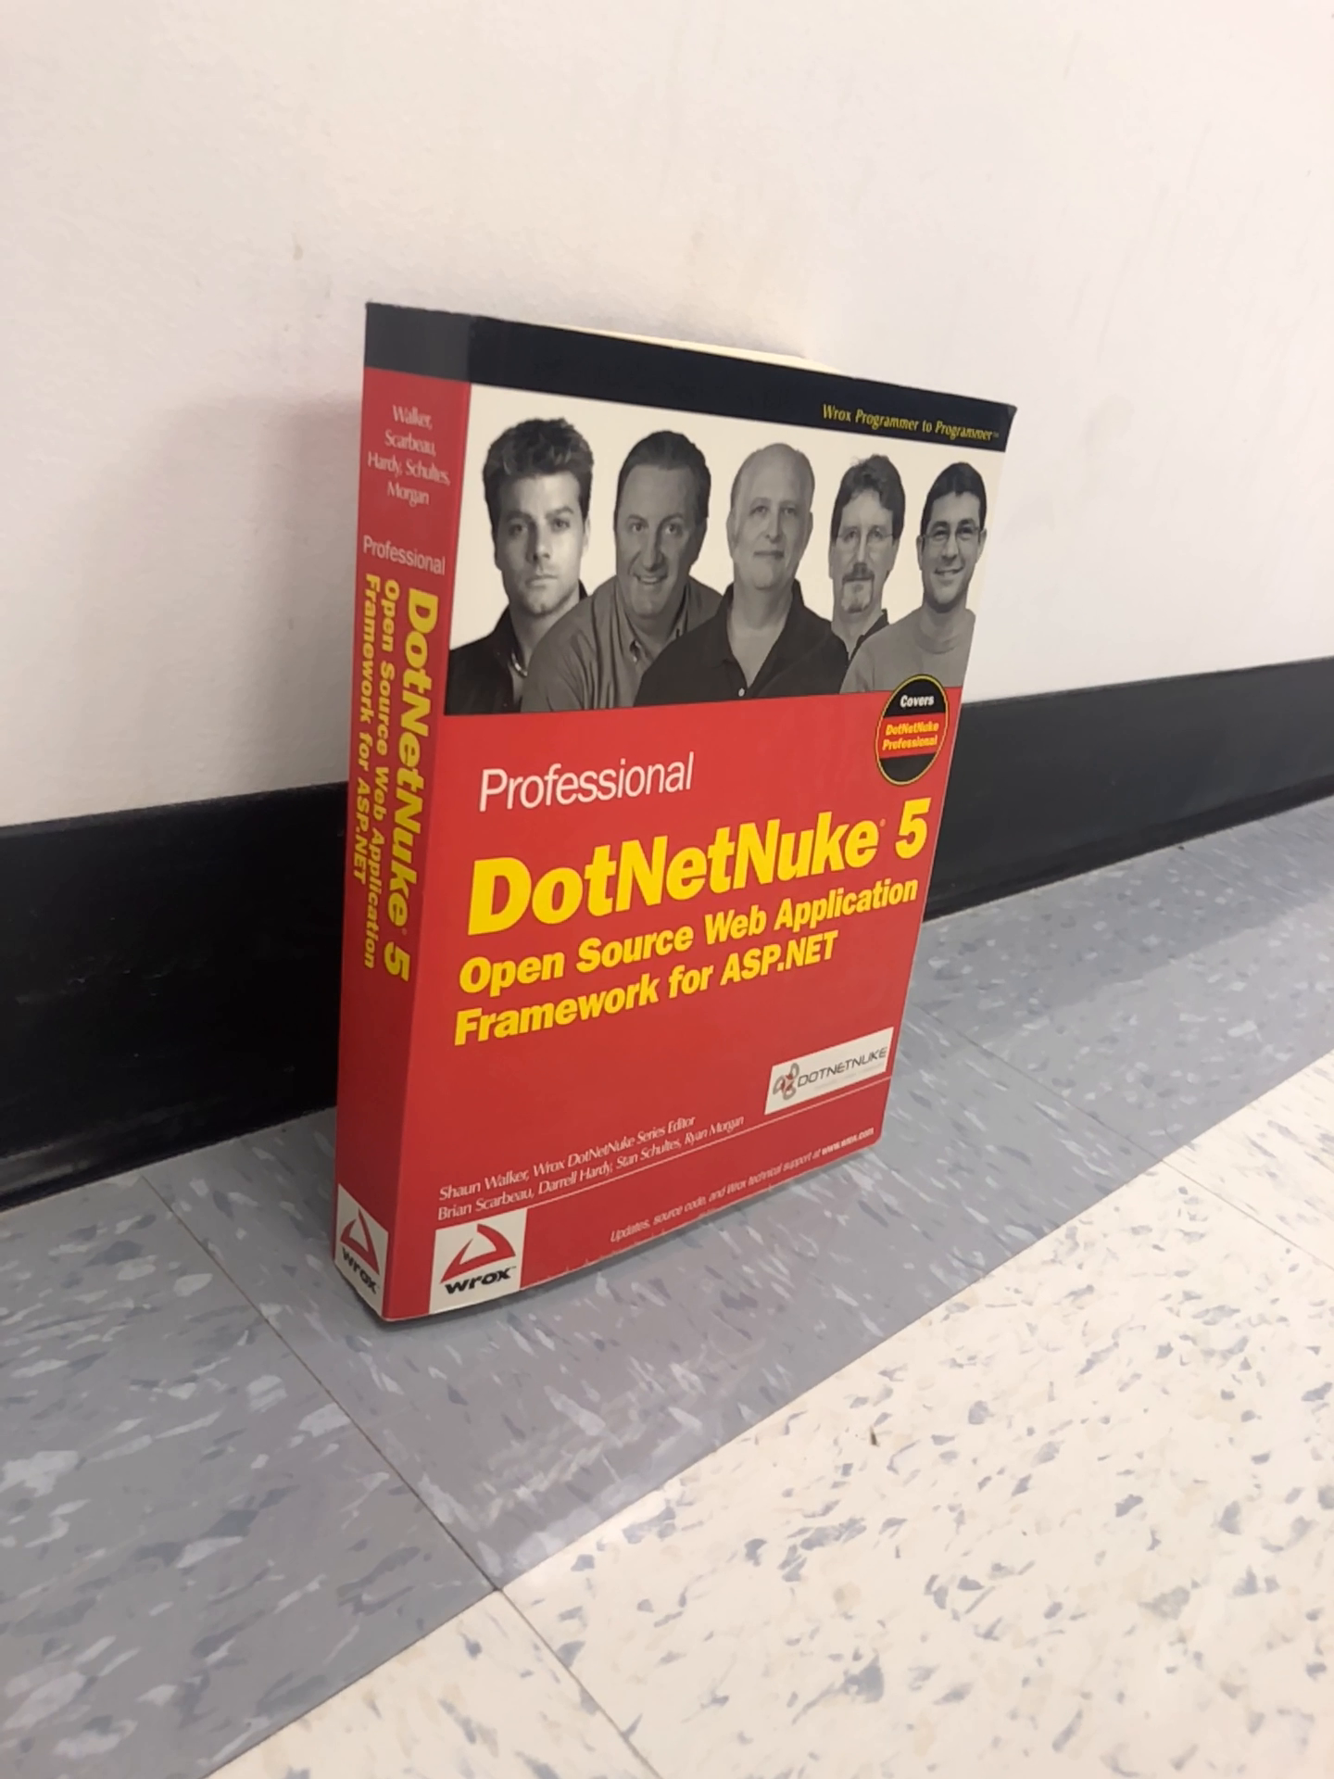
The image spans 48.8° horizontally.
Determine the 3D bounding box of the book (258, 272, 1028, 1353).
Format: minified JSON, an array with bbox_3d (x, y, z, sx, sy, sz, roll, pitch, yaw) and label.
[{"bbox_3d":[-0.003,-0.026,0.420,0.211,0.249,0.060,-9,22,-42],"label":"book"}]
